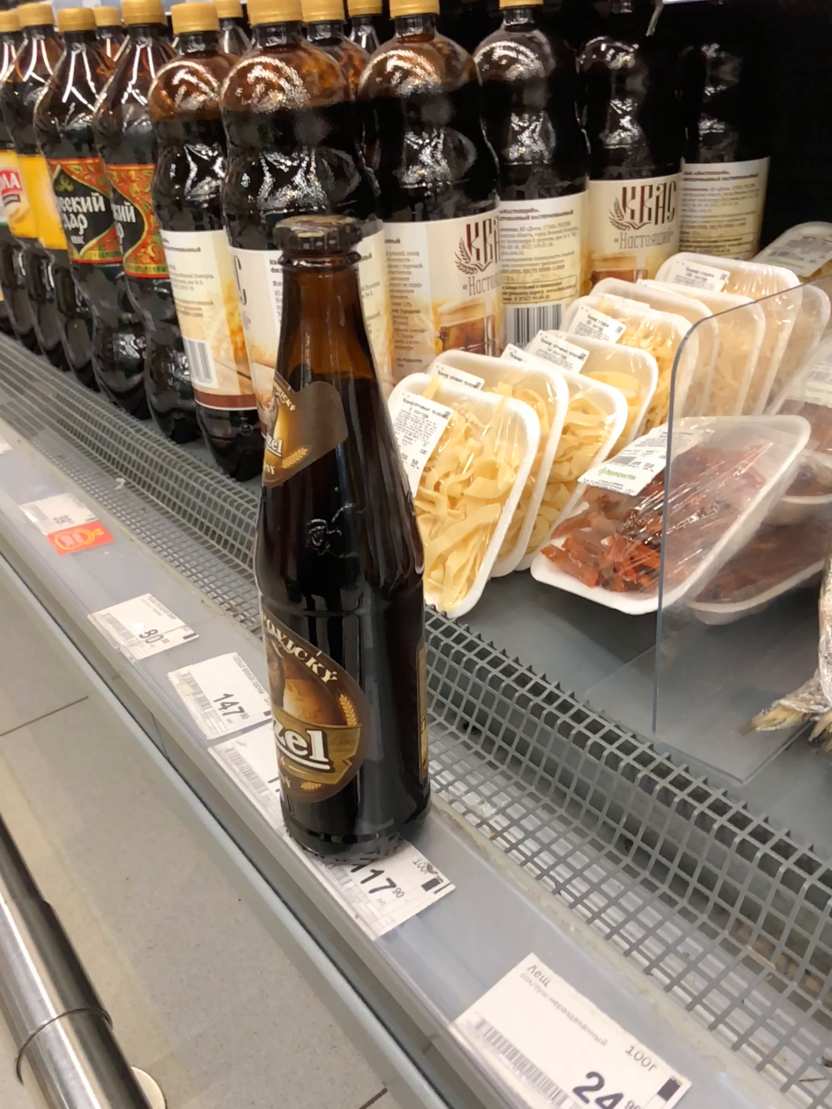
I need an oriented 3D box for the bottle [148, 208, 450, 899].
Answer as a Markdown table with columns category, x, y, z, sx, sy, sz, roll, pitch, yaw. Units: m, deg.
| category | x | y | z | sx | sy | sz | roll | pitch | yaw |
| --- | --- | --- | --- | --- | --- | --- | --- | --- | --- |
| bottle | -0.036 | 0.005 | 0.329 | 0.070 | 0.231 | 0.070 | -2 | 28 | 1 |
